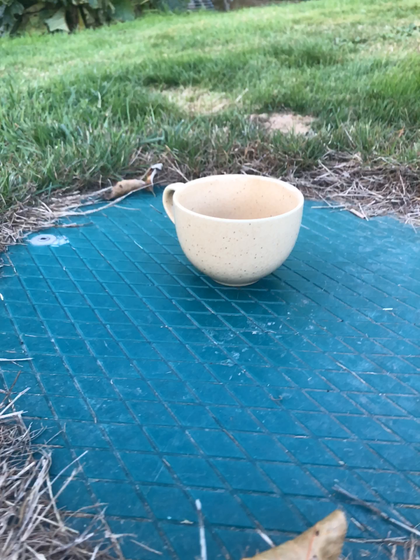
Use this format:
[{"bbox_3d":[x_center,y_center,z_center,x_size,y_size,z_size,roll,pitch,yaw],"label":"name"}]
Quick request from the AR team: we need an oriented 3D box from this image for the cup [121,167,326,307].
[{"bbox_3d":[0.014,-0.051,0.439,0.142,0.065,0.124,19,35,34],"label":"cup"}]
